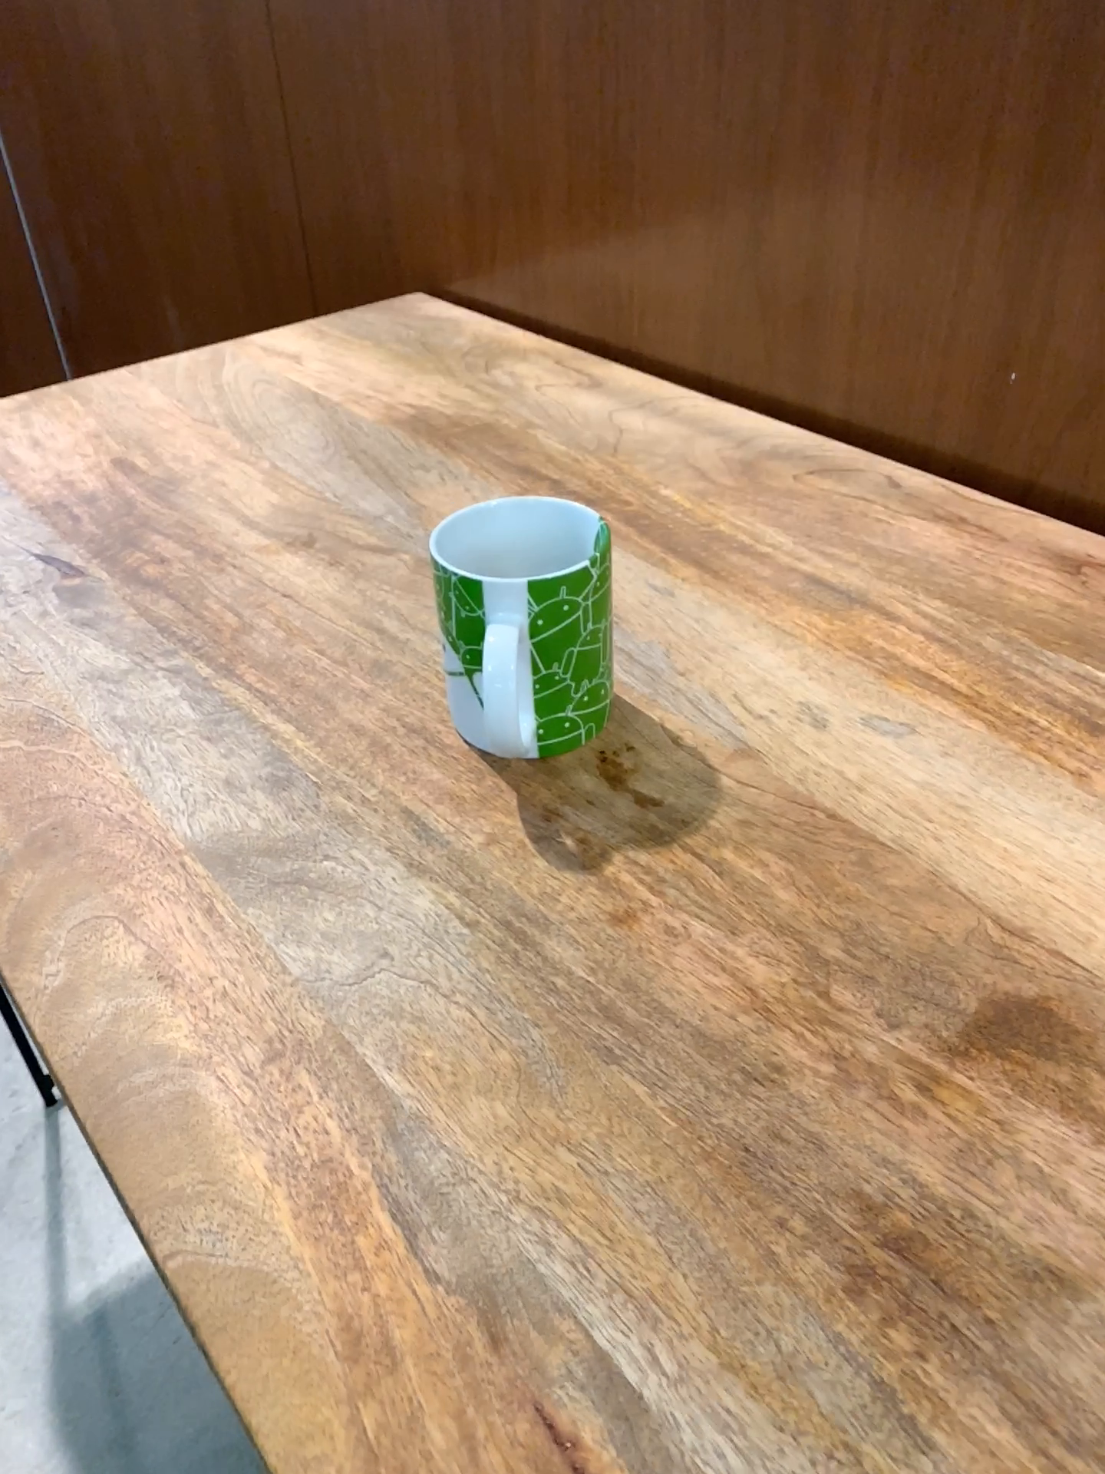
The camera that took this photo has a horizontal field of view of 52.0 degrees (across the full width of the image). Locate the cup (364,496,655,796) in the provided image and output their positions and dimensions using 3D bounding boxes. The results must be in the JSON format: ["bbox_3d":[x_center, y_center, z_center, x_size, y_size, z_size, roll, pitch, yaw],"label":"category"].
[{"bbox_3d":[-0.011,-0.043,0.486,0.100,0.070,0.121,4,37,8],"label":"cup"}]
